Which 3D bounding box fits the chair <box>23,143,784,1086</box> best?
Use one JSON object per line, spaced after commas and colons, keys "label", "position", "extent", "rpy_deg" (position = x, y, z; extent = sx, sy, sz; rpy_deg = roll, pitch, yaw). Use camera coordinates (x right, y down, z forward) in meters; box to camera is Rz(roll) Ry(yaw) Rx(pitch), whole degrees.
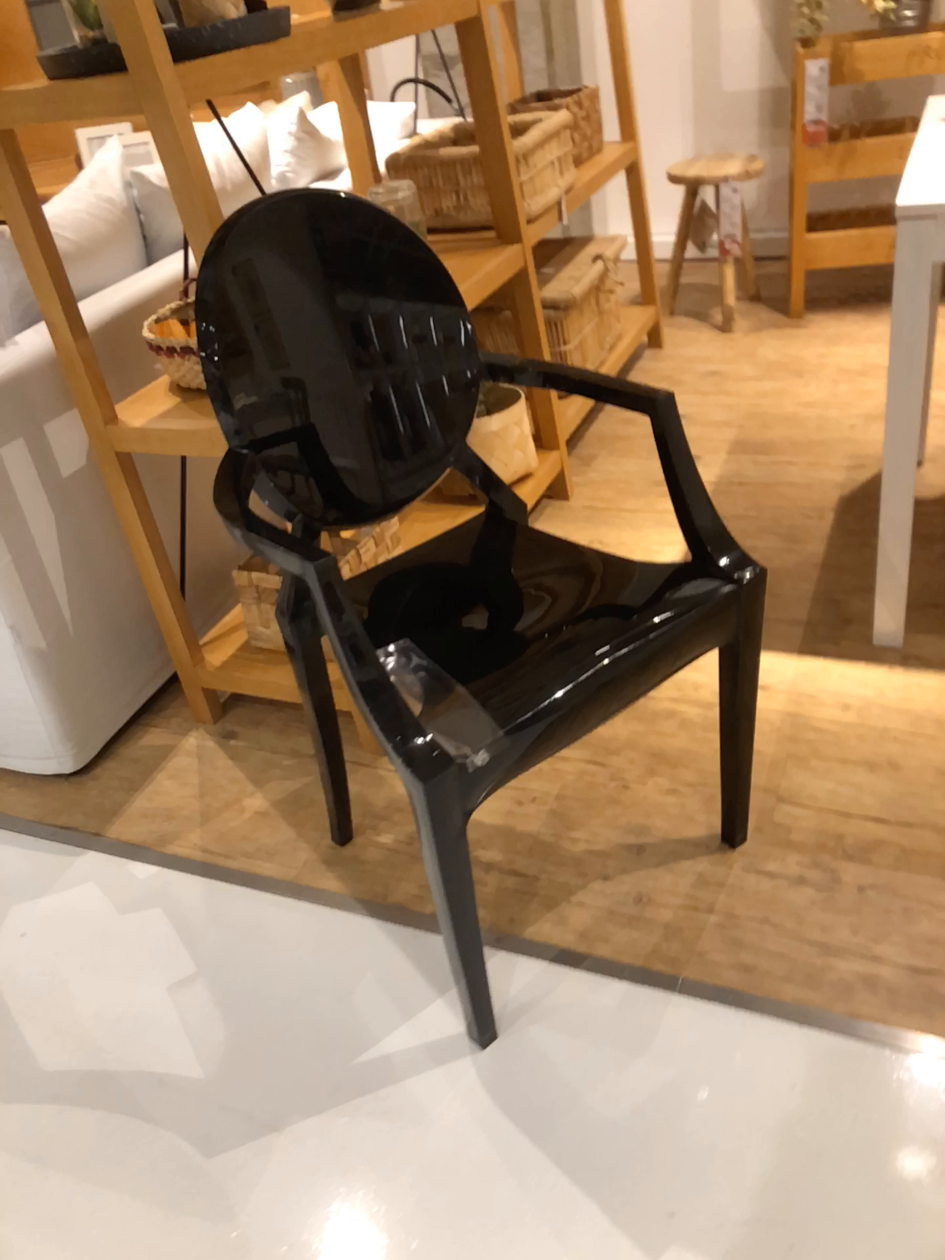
{"label": "chair", "position": [-0.029, -0.062, 1.313], "extent": [0.542, 0.902, 0.593], "rpy_deg": [-32, 39, -31]}
